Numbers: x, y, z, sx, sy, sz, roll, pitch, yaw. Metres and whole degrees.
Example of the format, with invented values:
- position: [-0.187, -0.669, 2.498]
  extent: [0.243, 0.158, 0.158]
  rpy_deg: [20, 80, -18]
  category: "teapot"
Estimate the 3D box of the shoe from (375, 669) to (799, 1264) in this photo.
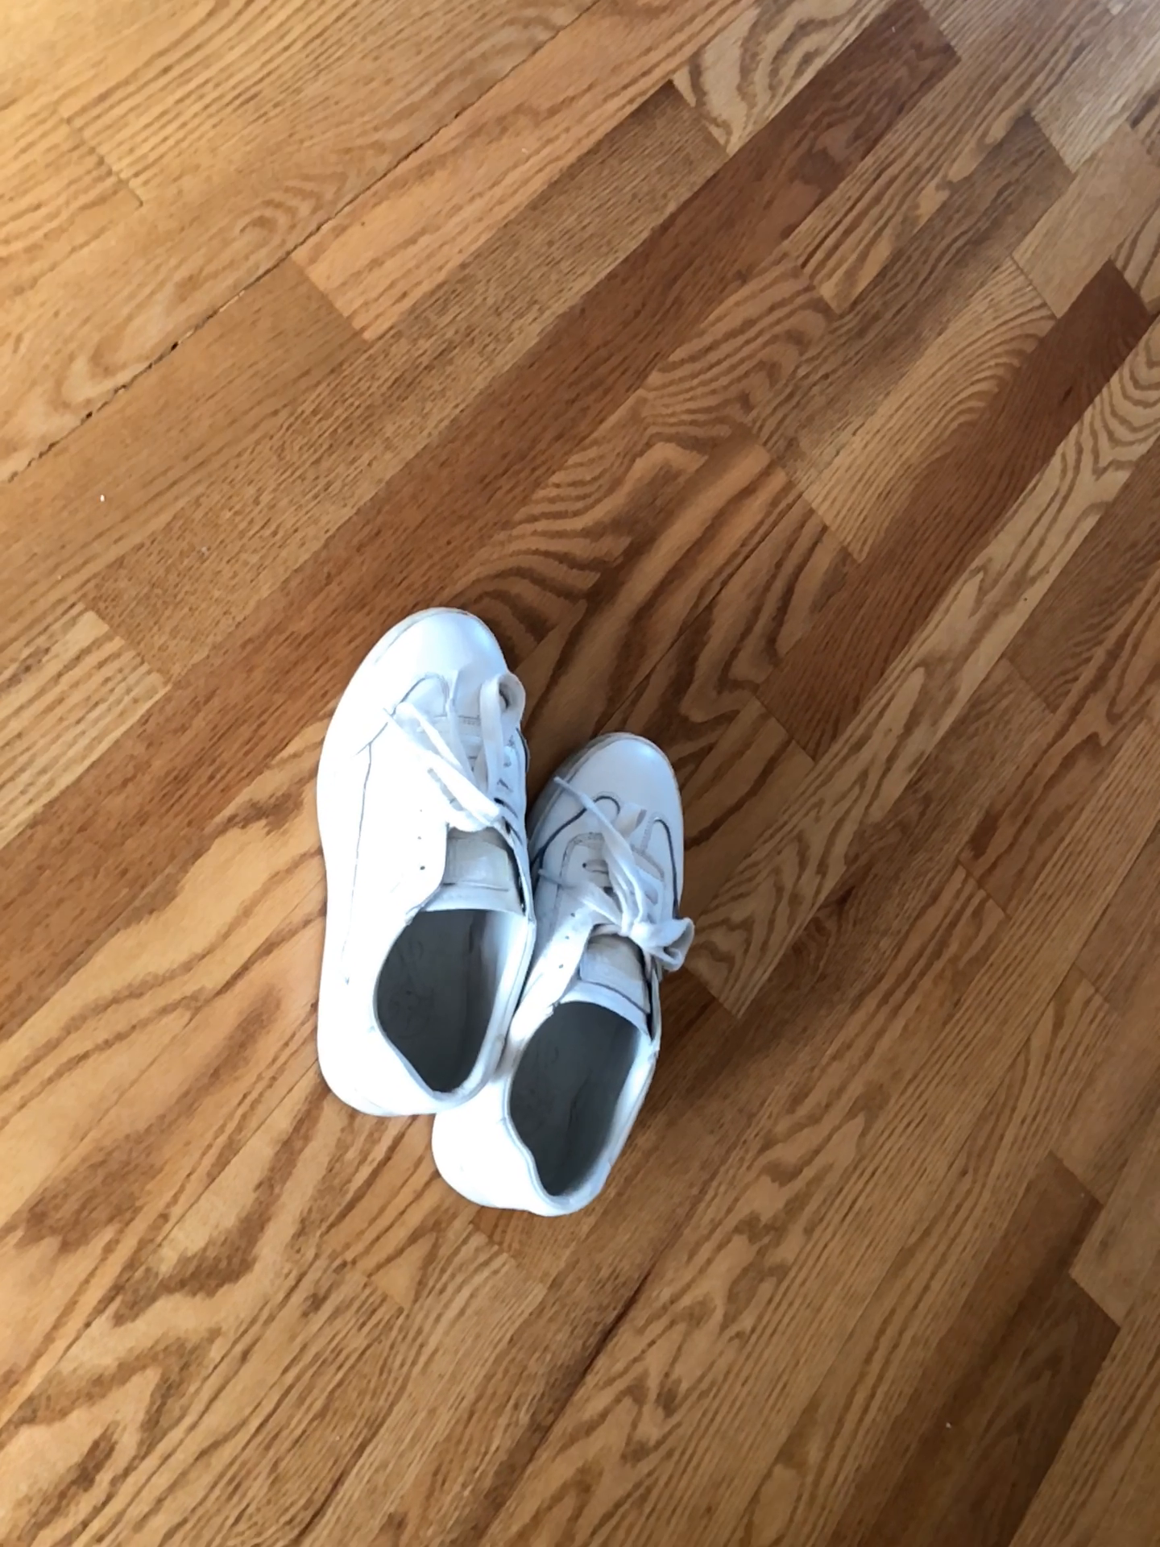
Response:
- position: [0.004, 0.093, 0.652]
  extent: [0.103, 0.107, 0.260]
  rpy_deg: [26, 74, -21]
  category: "shoe"

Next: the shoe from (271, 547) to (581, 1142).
- position: [-0.076, 0.038, 0.621]
  extent: [0.103, 0.104, 0.260]
  rpy_deg: [7, 81, -25]
  category: "shoe"
